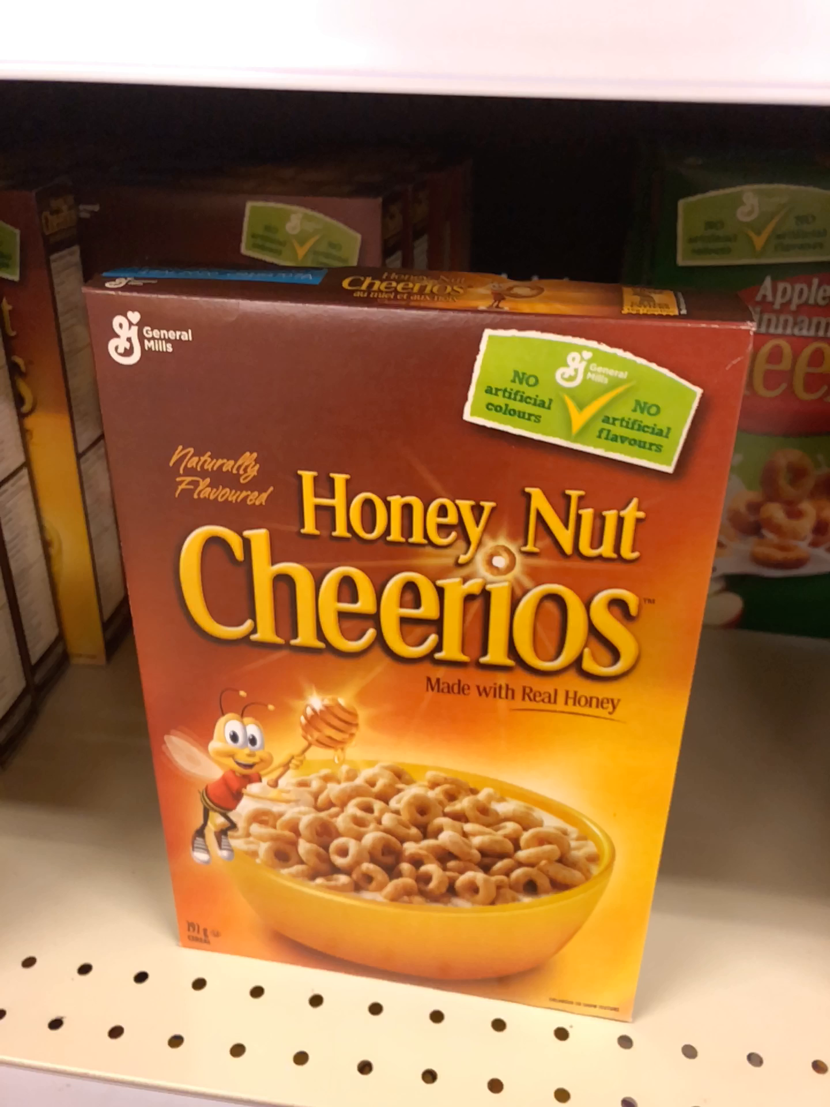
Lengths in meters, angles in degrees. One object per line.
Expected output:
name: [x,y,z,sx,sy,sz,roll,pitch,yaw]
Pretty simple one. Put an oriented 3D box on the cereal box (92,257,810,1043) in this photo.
cereal box: [0.007,0.043,0.330,0.190,0.268,0.060,6,28,9]
